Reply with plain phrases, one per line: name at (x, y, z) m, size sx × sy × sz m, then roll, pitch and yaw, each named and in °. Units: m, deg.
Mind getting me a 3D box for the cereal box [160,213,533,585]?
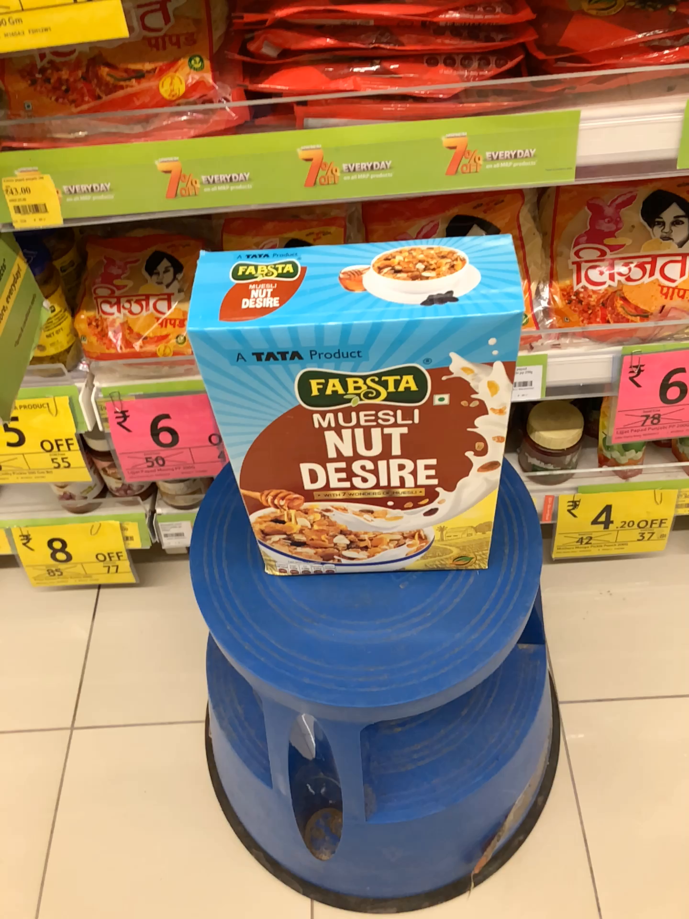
cereal box at (0.009, -0.017, 0.465) m, size 0.170 × 0.249 × 0.070 m, roll -3°, pitch 52°, yaw 3°
